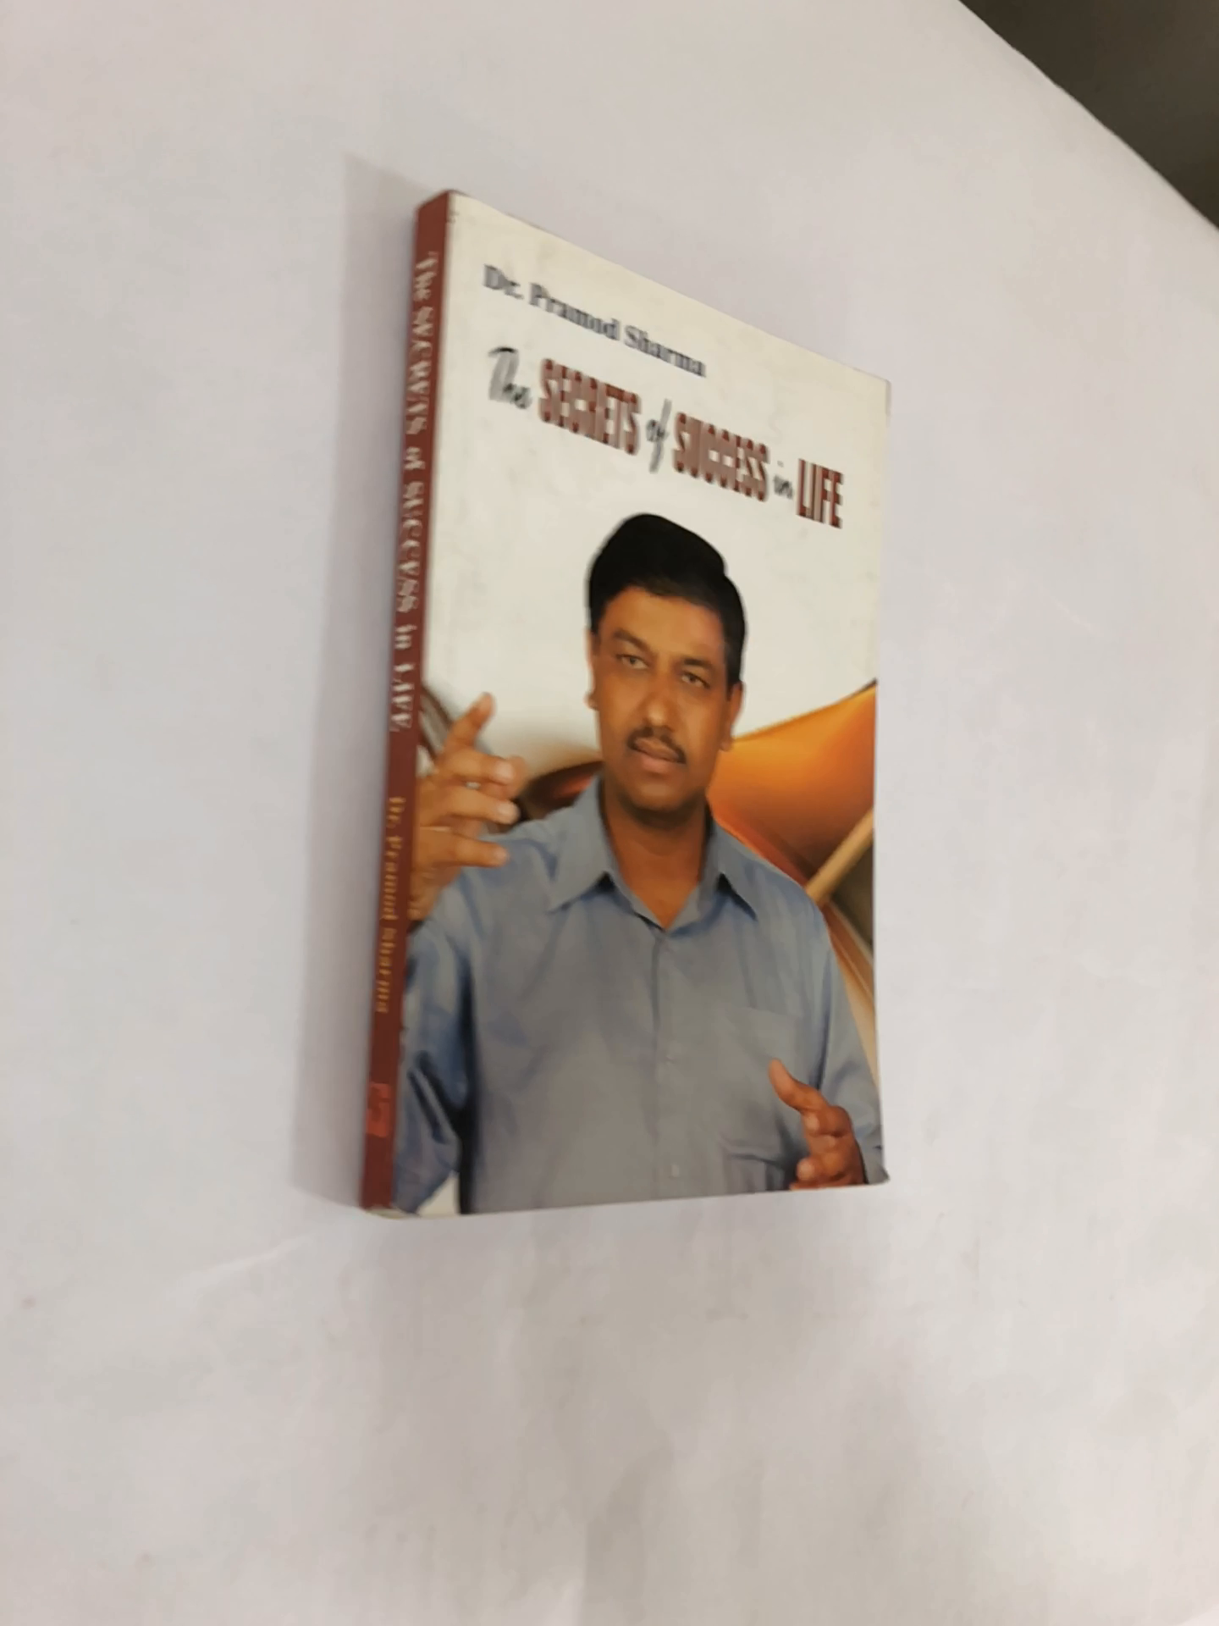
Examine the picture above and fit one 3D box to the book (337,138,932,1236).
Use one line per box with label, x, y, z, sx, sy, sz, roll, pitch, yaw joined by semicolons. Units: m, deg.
book;0.015;-0.021;0.307;0.151;0.020;0.210;7;79;-38
